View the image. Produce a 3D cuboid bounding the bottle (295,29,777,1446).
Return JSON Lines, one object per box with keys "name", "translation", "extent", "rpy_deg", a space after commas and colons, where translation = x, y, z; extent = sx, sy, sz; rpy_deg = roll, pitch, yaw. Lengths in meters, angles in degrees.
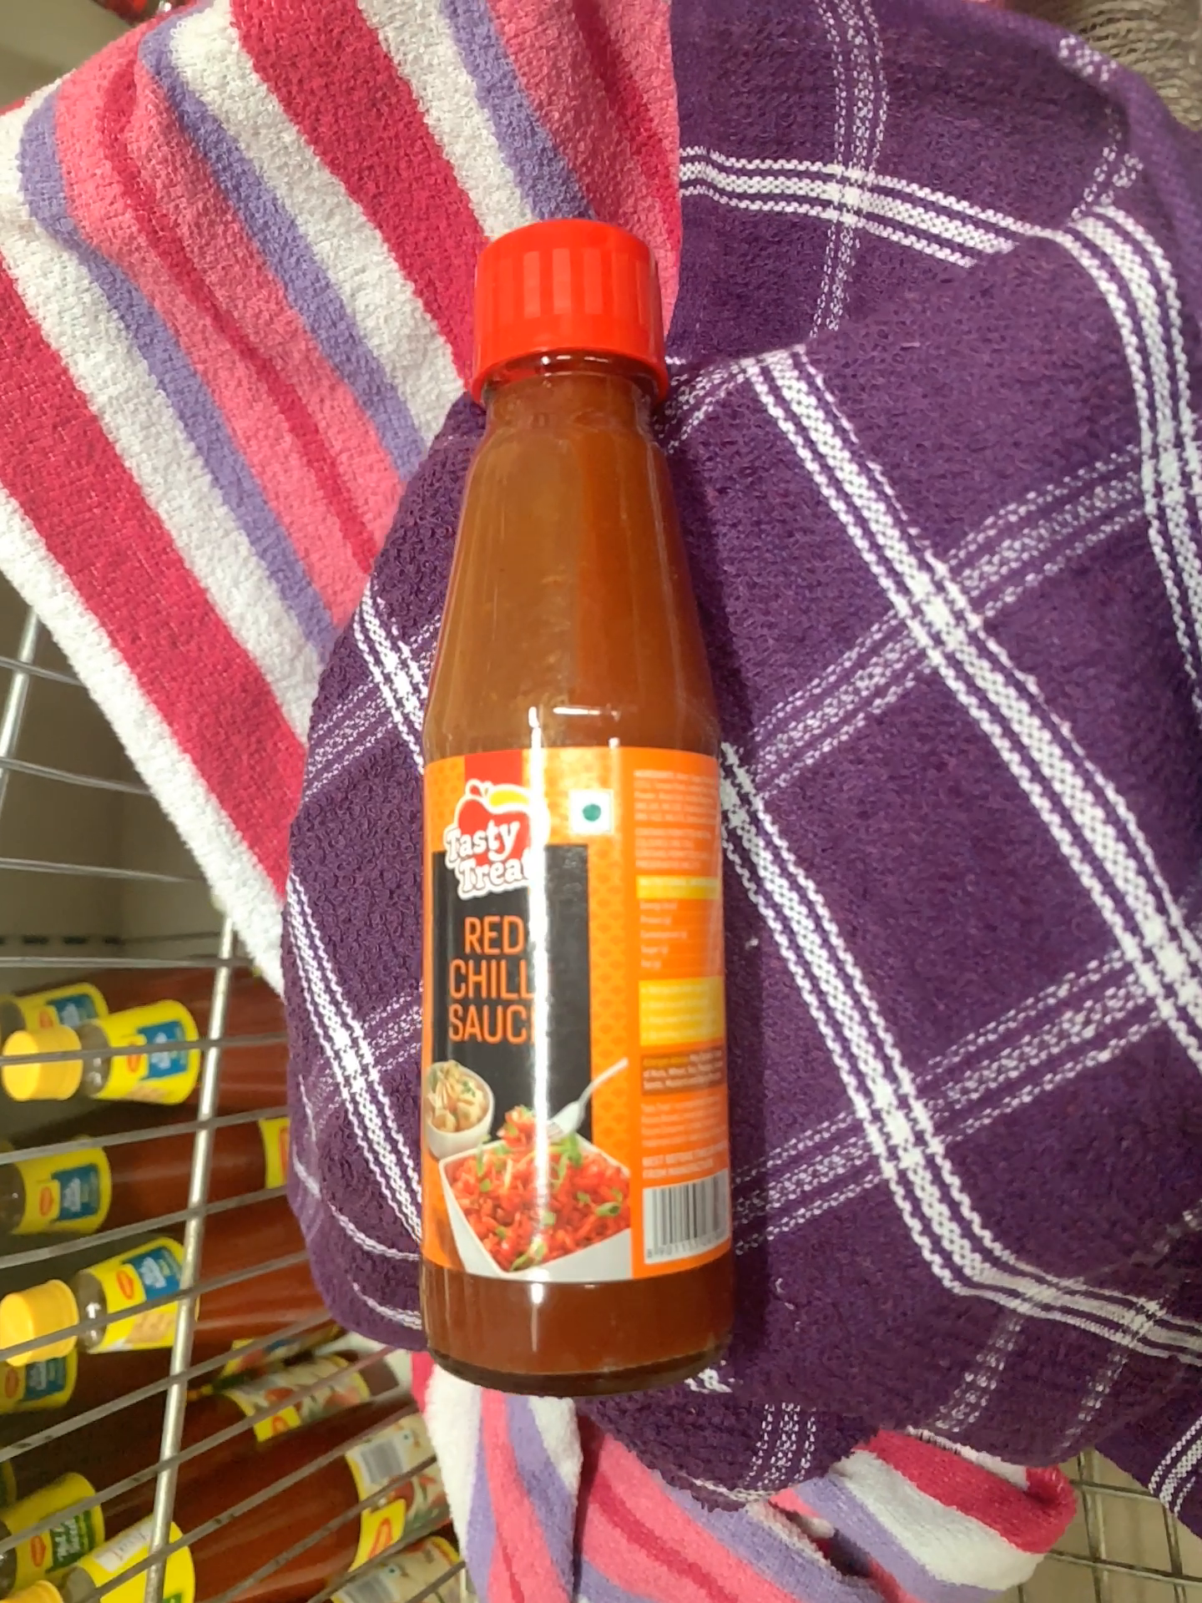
{"name": "bottle", "translation": [-0.011, -0.009, 0.187], "extent": [0.050, 0.040, 0.180], "rpy_deg": [-6, 85, 36]}
